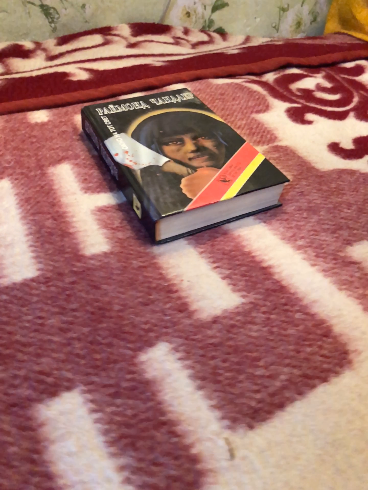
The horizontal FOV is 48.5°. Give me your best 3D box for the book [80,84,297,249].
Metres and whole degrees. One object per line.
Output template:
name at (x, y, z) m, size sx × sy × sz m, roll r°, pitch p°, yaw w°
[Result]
book at (-0.007, -0.095, 0.413) m, size 0.134 × 0.032 × 0.209 m, roll -18°, pitch 48°, yaw -20°
